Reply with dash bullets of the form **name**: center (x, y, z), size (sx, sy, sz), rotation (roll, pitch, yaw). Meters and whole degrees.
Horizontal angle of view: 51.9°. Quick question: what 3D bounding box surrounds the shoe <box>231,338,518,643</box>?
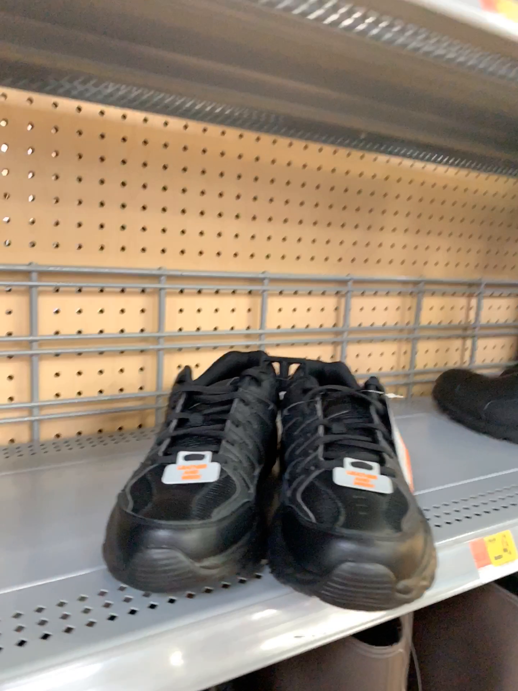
- **shoe**: center (0.058, 0.072, 0.410), size (0.135, 0.104, 0.297), rotation (3, 10, 0)

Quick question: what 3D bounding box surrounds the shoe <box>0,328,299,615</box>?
- **shoe**: center (-0.053, 0.062, 0.427), size (0.139, 0.104, 0.297), rotation (4, 10, 9)
